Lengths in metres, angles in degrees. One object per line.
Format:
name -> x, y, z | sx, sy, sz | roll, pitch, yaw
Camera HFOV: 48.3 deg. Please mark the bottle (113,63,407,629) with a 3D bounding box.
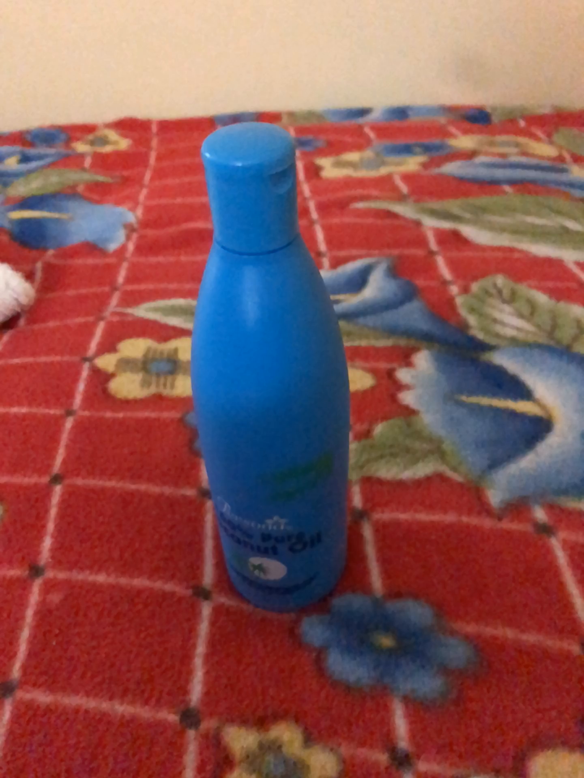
bottle -> -0.001, 0.000, 0.269 | 0.070, 0.229, 0.070 | -2, 41, 1
